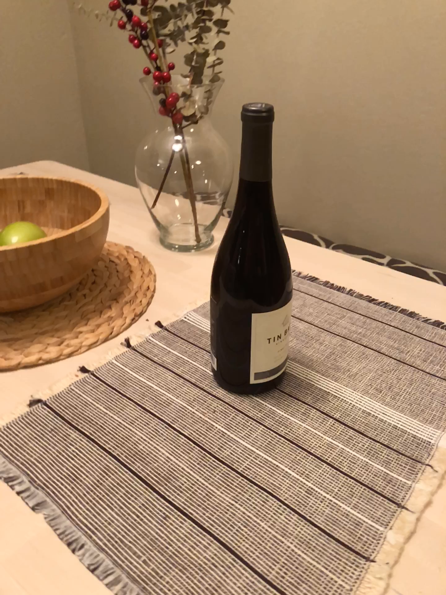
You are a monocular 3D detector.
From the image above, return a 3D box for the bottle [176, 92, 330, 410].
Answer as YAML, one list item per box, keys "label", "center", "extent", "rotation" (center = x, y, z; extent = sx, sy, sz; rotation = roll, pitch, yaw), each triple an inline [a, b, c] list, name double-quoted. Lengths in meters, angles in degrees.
- label: "bottle"
  center: [0.026, -0.042, 0.492]
  extent: [0.100, 0.288, 0.090]
  rotation: [18, 34, 28]

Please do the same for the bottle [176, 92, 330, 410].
- label: "bottle"
  center: [0.026, -0.042, 0.492]
  extent: [0.100, 0.288, 0.090]
  rotation: [18, 34, 28]
